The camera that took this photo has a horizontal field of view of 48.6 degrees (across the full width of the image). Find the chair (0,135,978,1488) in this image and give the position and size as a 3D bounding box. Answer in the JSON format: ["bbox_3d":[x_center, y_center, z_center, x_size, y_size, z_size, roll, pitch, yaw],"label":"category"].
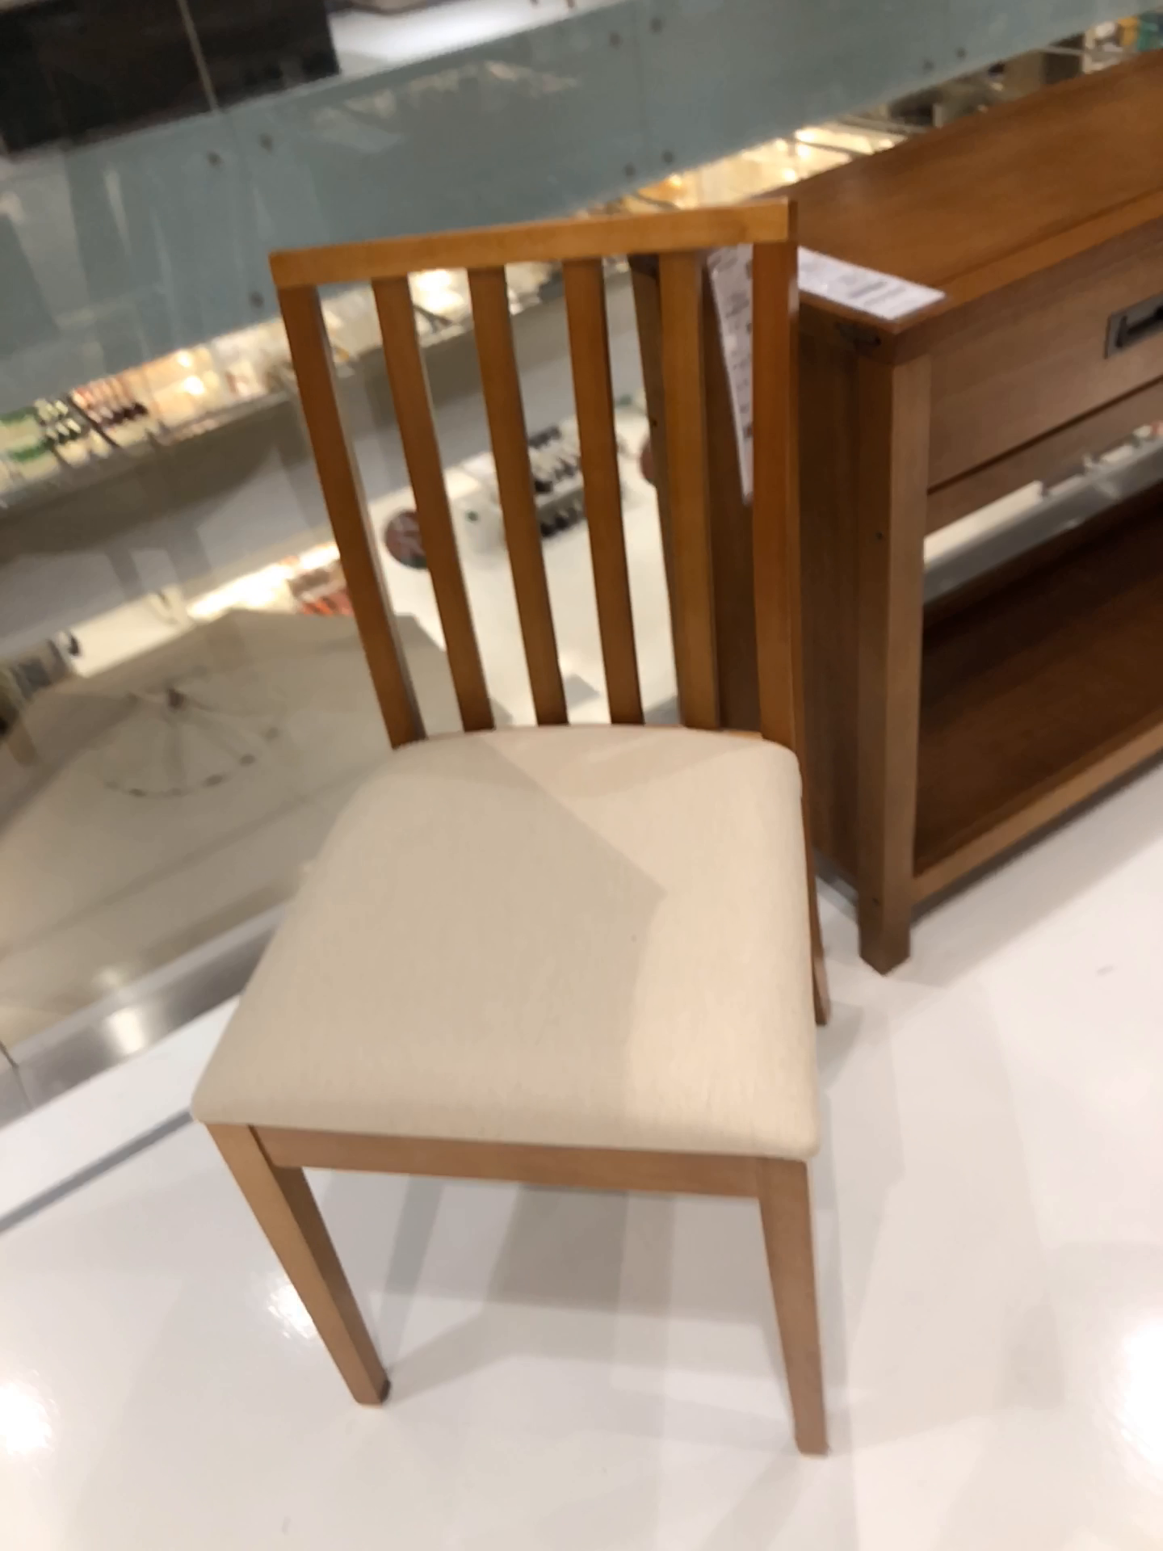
[{"bbox_3d":[-0.020,0.059,0.999,0.540,0.834,0.554,-1,40,12],"label":"chair"}]
